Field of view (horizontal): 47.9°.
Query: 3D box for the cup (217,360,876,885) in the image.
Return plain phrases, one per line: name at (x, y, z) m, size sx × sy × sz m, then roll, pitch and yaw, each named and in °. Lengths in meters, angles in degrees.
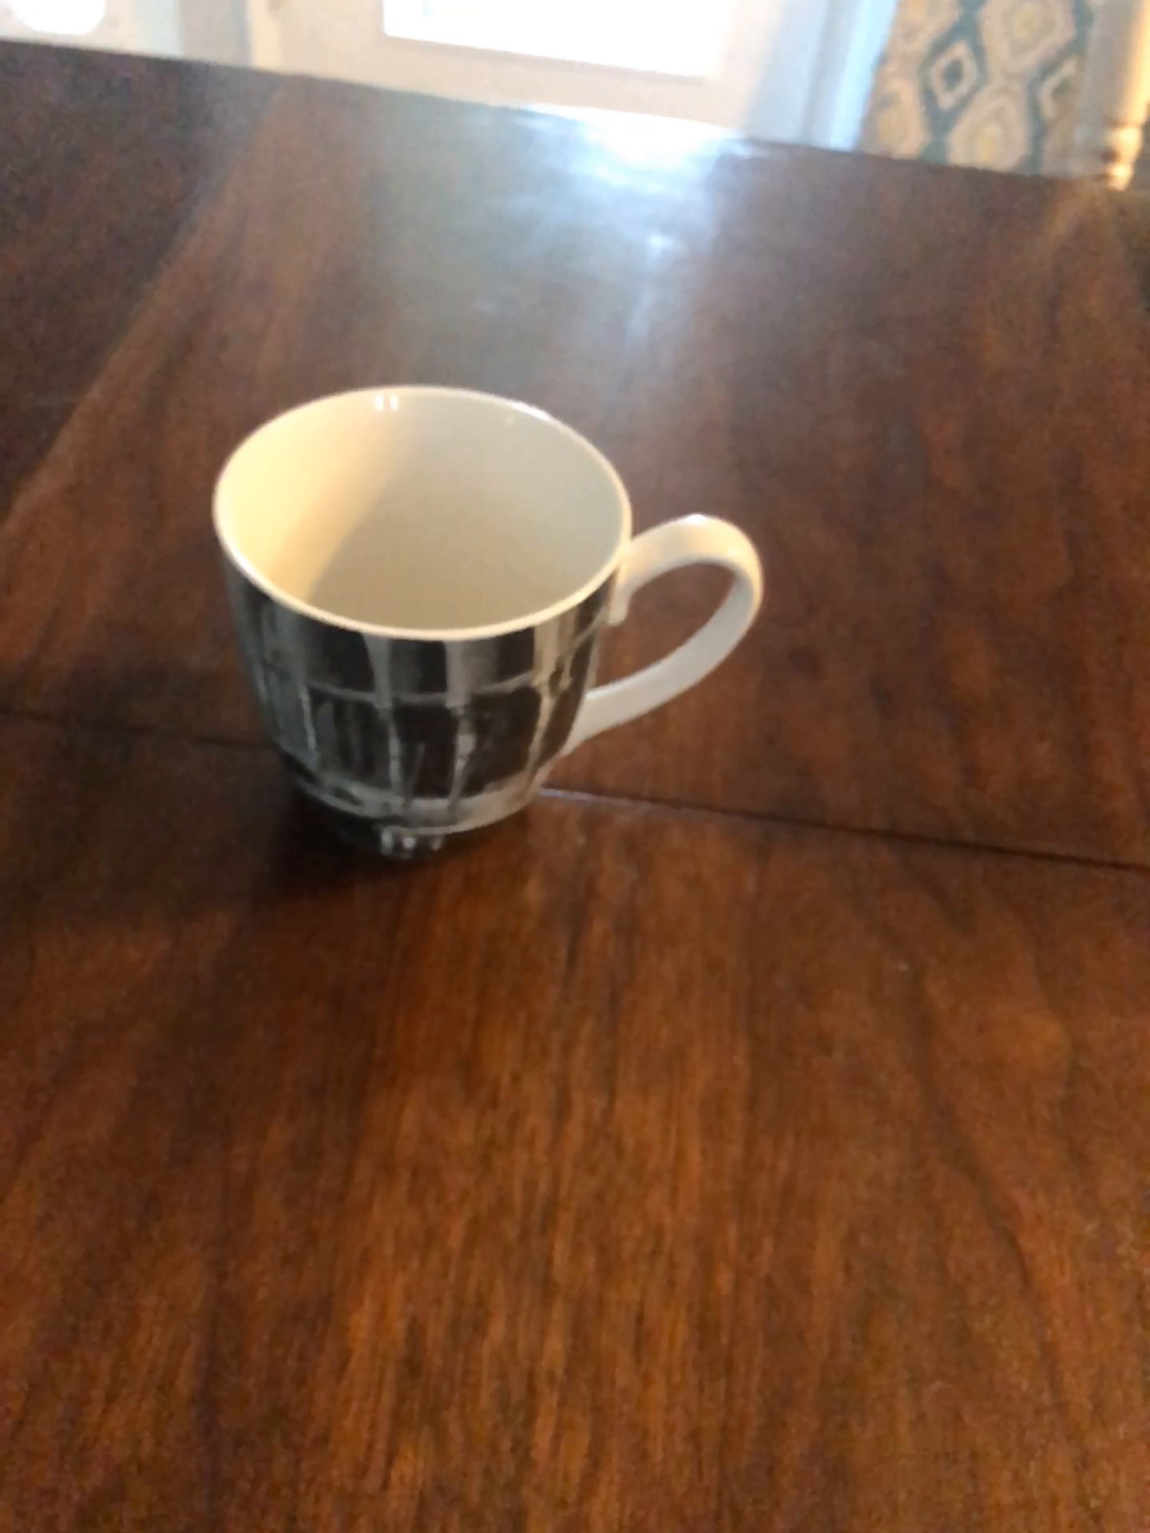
cup at (-0.015, -0.041, 0.336) m, size 0.140 × 0.080 × 0.100 m, roll -5°, pitch 49°, yaw -12°
